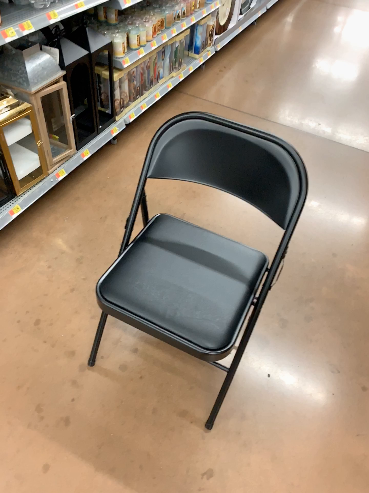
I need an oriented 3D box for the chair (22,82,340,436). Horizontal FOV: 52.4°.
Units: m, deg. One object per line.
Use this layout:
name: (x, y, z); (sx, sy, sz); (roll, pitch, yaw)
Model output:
chair: (0.003, 0.060, 0.999); (0.470, 0.697, 0.472); (23, 50, 13)
